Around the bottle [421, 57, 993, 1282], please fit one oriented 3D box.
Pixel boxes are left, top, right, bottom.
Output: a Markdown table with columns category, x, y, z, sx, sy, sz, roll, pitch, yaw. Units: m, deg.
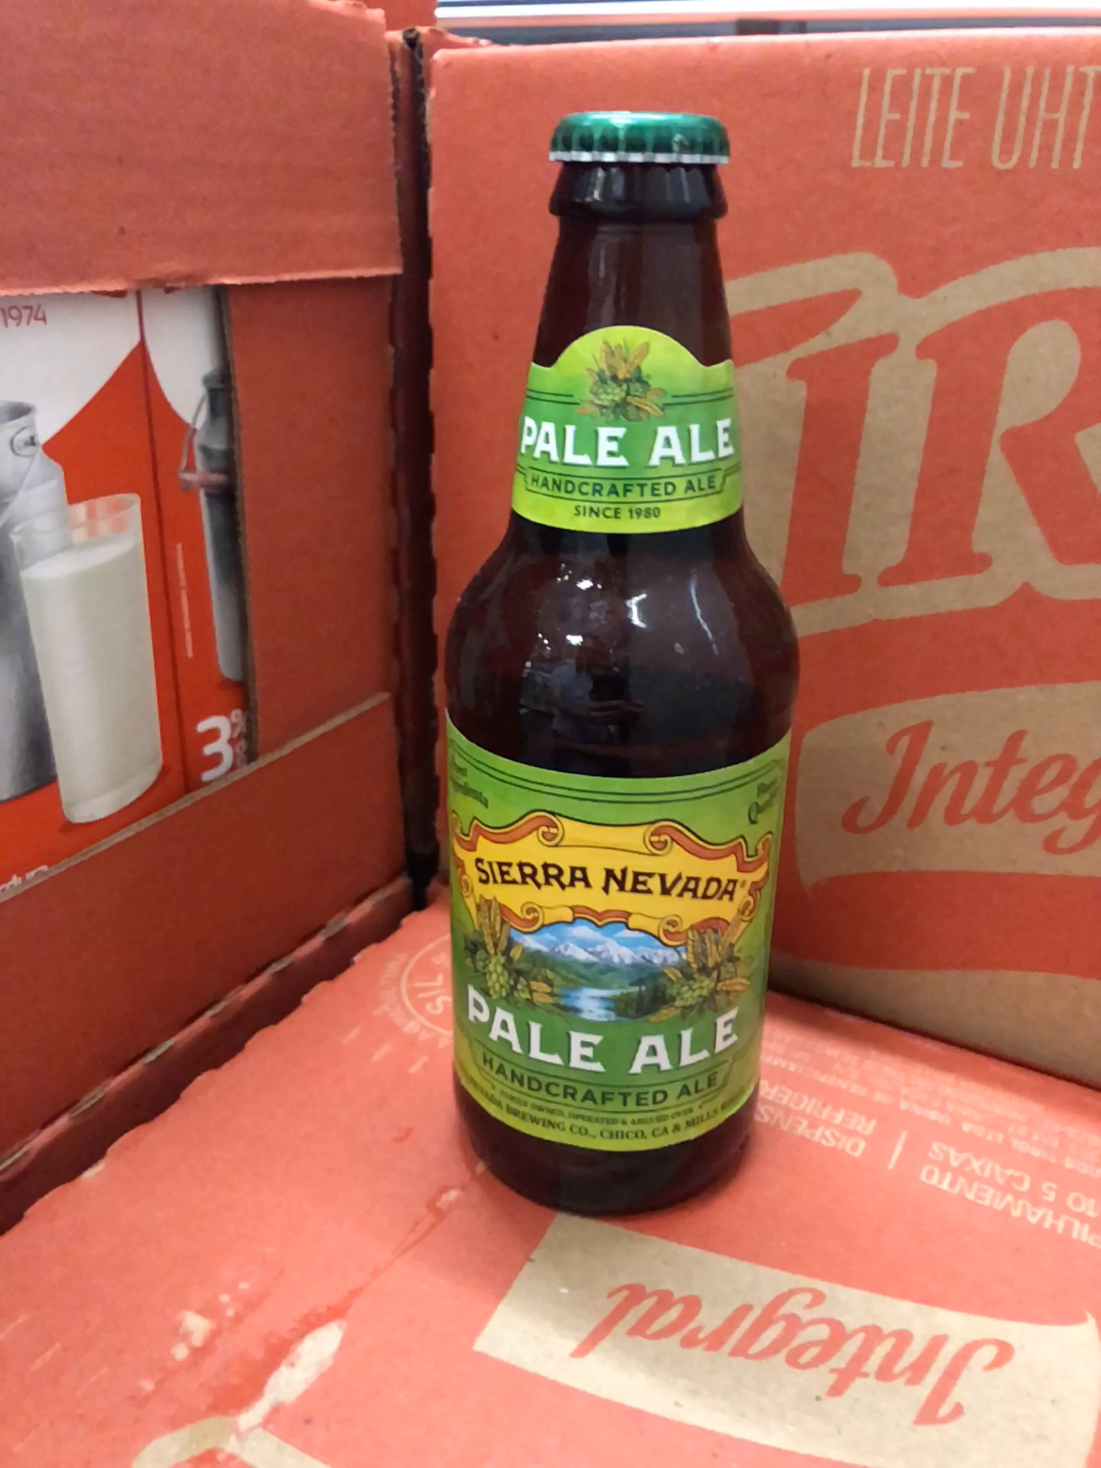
| category | x | y | z | sx | sy | sz | roll | pitch | yaw |
| --- | --- | --- | --- | --- | --- | --- | --- | --- | --- |
| bottle | 0.021 | -0.007 | 0.215 | 0.070 | 0.189 | 0.060 | 8 | 23 | 12 |
